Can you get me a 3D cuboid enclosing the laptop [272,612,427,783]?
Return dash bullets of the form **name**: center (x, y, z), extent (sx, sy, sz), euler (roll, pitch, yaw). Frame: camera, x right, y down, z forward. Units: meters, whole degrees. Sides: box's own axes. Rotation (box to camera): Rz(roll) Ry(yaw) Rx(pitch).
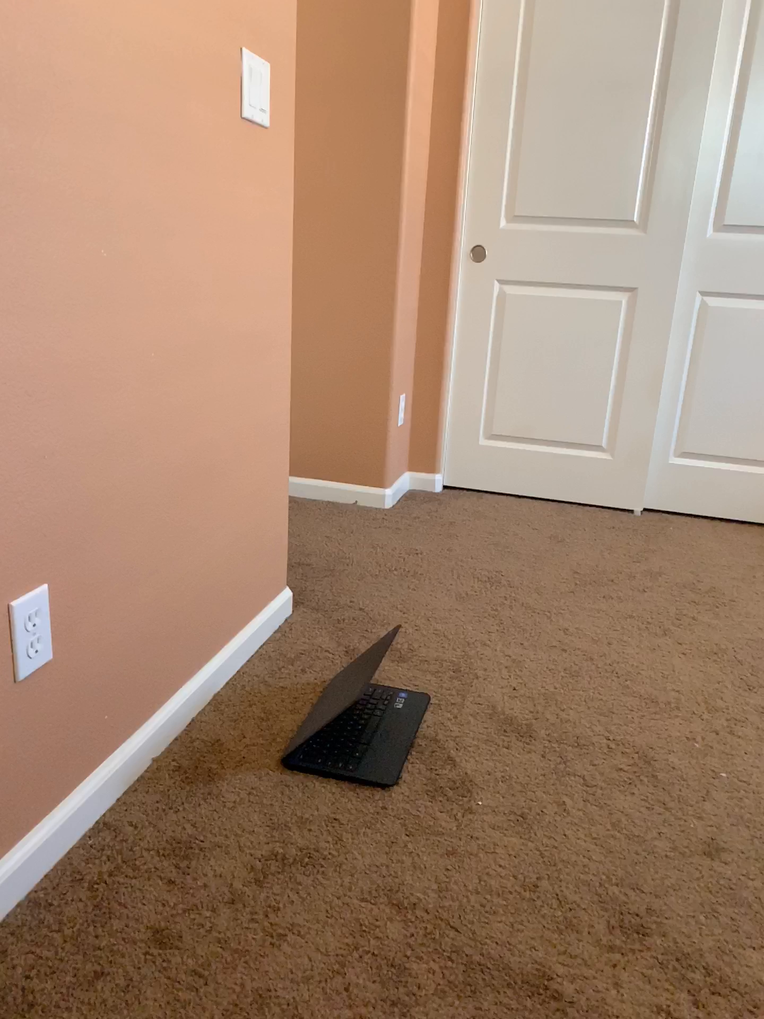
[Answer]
- **laptop**: center (-0.049, 0.325, 1.409), extent (0.191, 0.140, 0.293), euler (9, 18, 13)
